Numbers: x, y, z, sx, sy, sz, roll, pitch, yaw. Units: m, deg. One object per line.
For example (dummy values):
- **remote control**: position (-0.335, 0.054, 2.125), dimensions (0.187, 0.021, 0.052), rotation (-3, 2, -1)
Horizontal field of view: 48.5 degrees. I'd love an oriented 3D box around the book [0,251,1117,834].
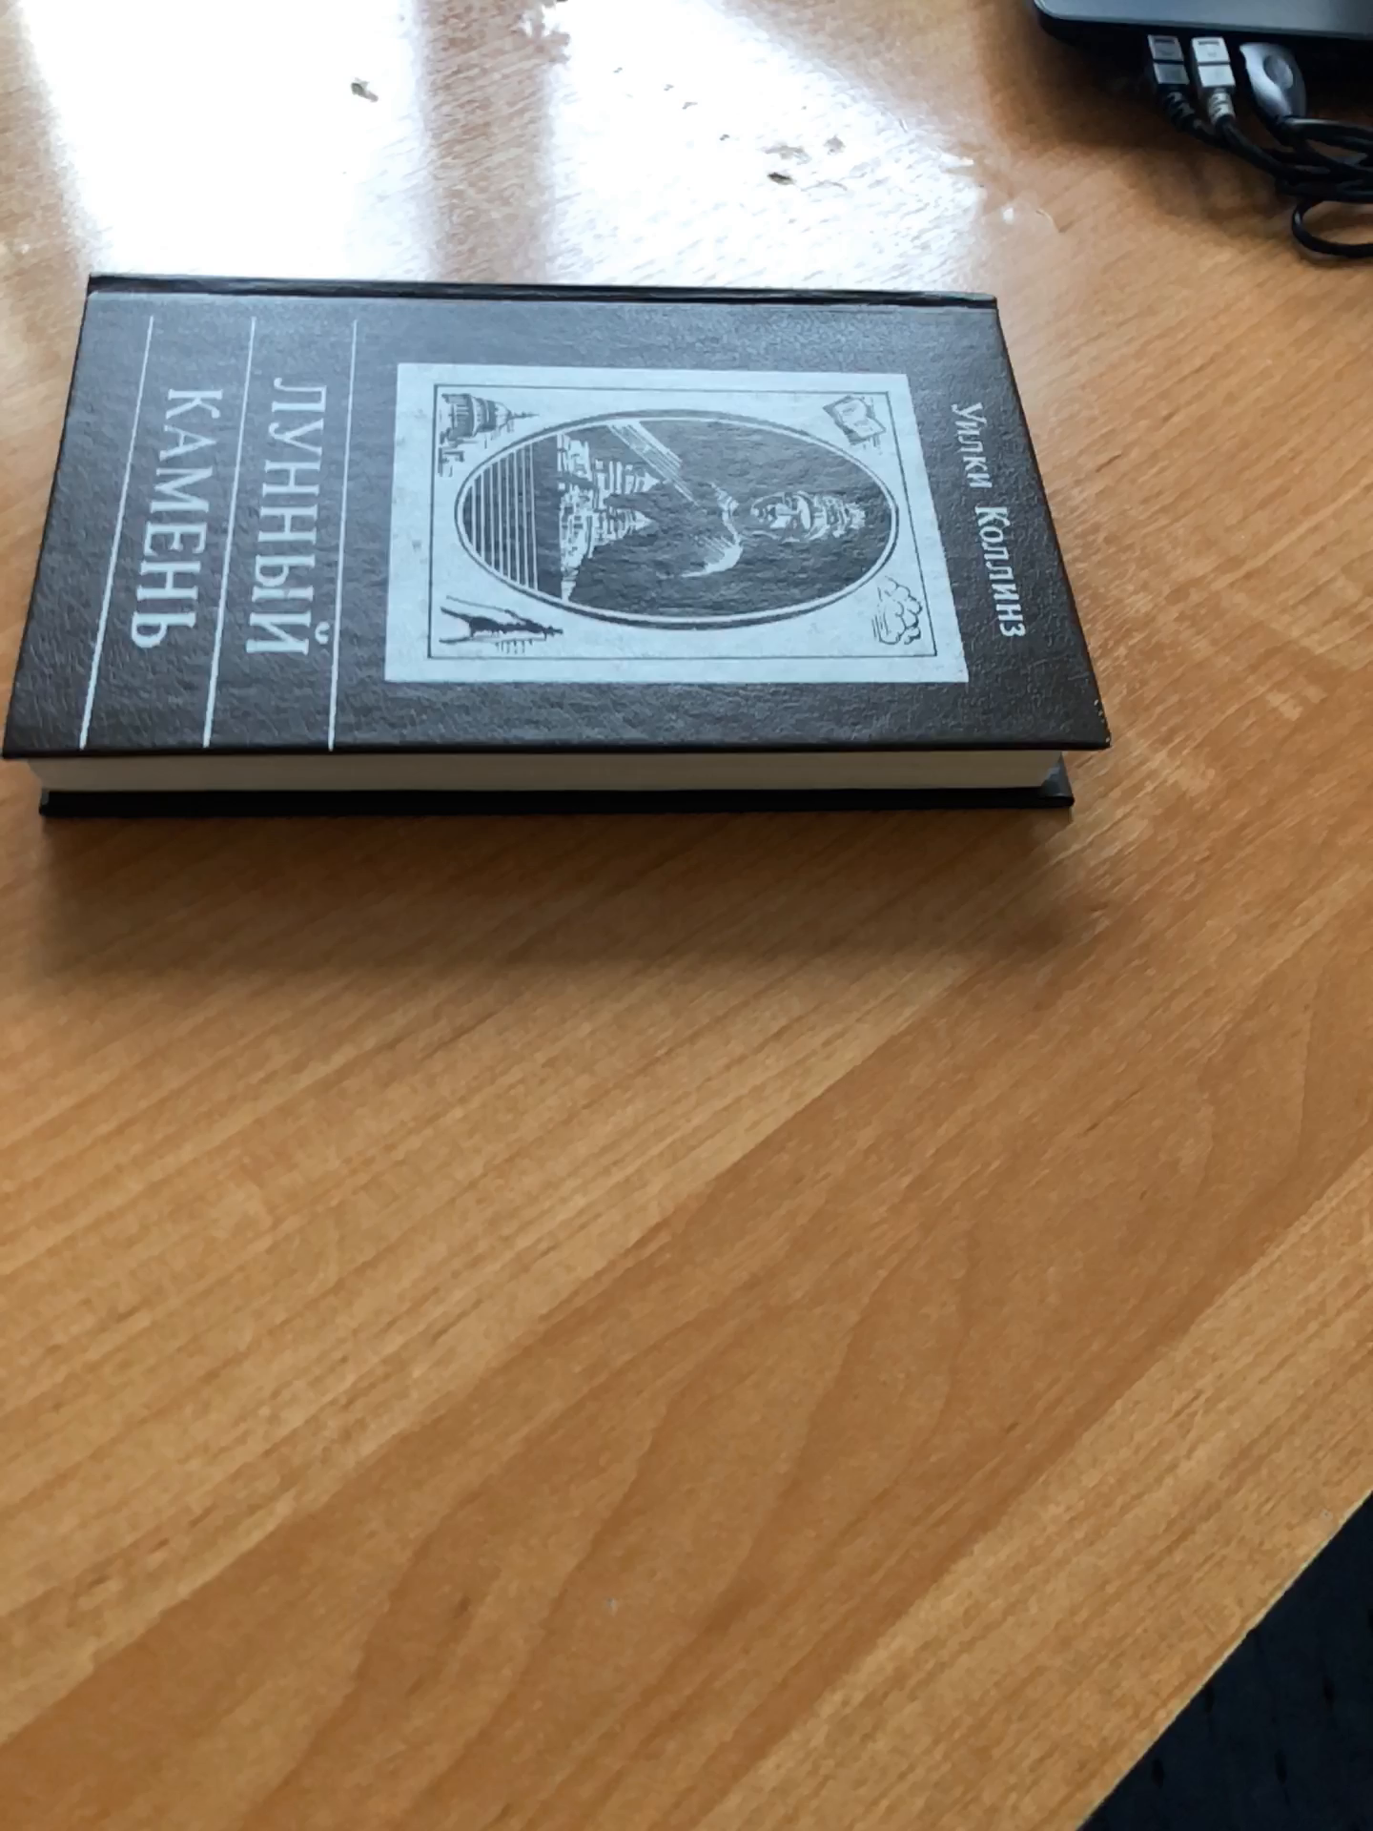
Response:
- **book**: position (-0.026, -0.083, 0.319), dimensions (0.199, 0.032, 0.133), rotation (-1, 58, -4)
